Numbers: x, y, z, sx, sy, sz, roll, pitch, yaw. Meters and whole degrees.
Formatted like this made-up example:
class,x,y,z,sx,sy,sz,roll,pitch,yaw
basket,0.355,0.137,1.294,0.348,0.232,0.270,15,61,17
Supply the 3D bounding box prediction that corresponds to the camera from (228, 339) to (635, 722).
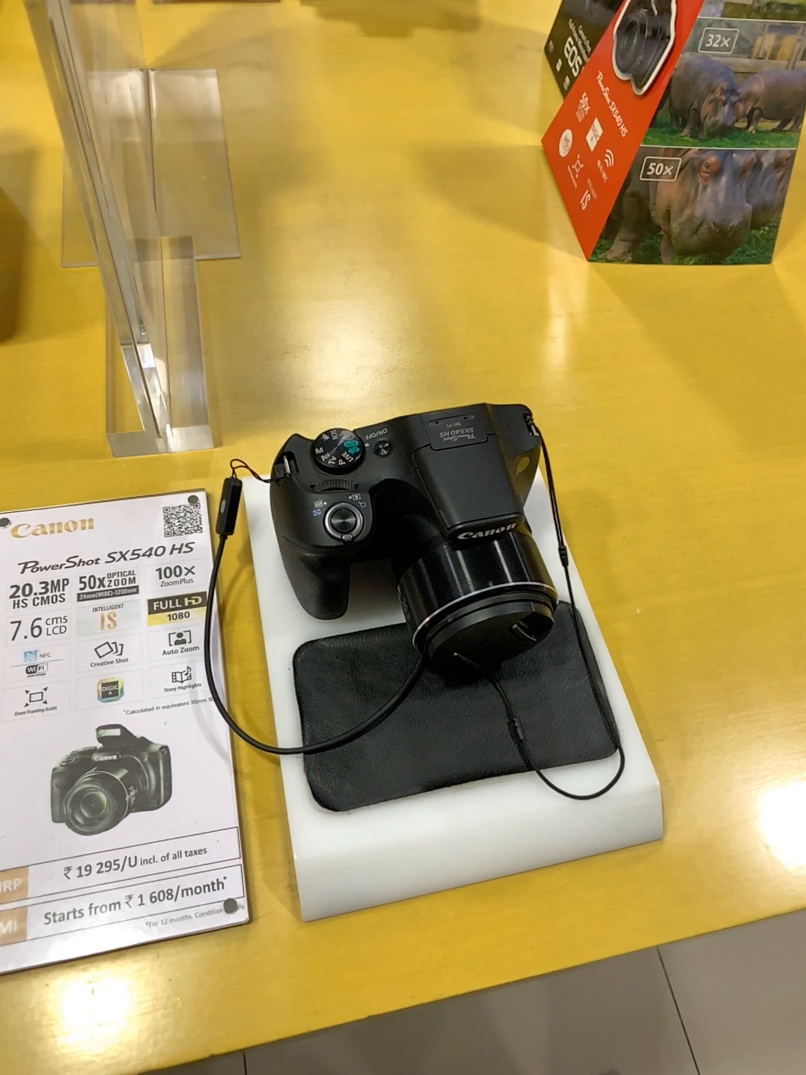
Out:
class,x,y,z,sx,sy,sz,roll,pitch,yaw
camera,0.004,-0.005,0.328,0.120,0.070,0.110,-12,60,-12
